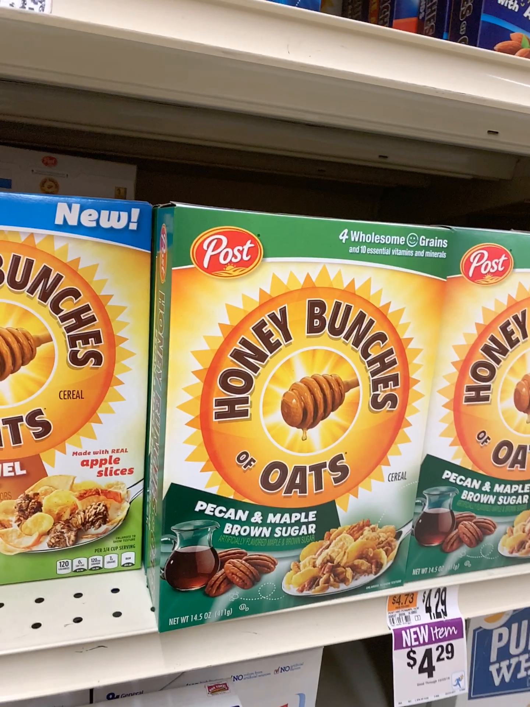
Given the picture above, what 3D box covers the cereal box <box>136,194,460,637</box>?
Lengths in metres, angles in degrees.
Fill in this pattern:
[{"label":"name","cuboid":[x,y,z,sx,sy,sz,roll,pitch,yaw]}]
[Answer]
[{"label":"cereal box","cuboid":[0.018,0.041,0.391,0.200,0.279,0.060,0,13,-22]}]
